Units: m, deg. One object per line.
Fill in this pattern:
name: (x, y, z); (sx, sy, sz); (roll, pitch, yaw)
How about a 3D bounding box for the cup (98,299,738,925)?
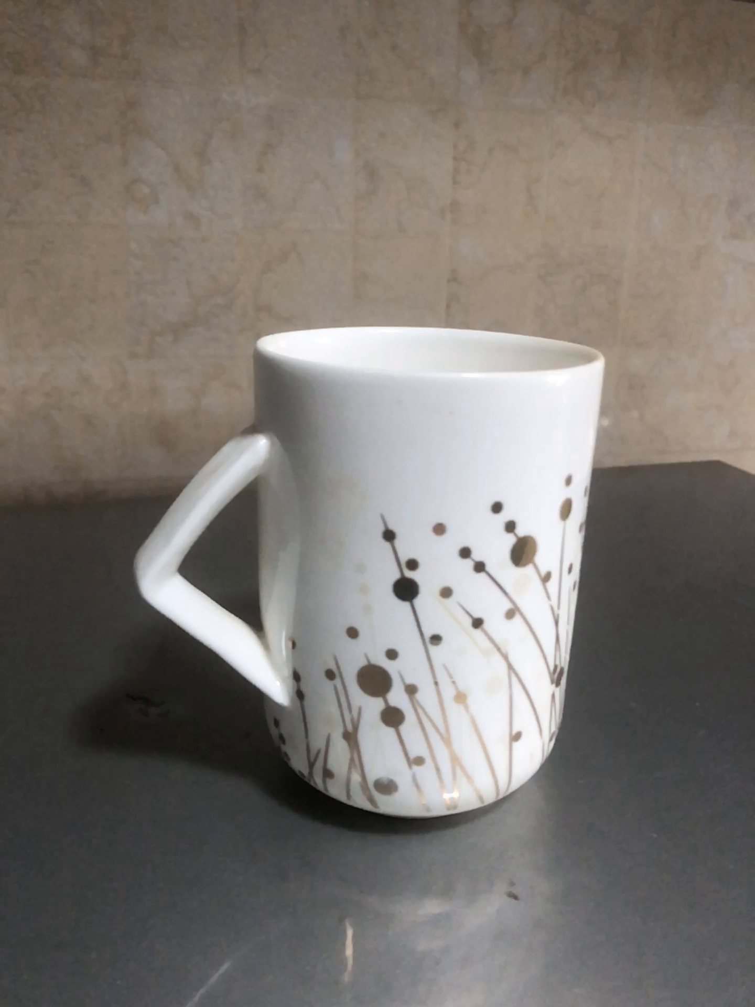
cup: (0.005, 0.008, 0.193); (0.110, 0.100, 0.080); (-8, 20, -29)
